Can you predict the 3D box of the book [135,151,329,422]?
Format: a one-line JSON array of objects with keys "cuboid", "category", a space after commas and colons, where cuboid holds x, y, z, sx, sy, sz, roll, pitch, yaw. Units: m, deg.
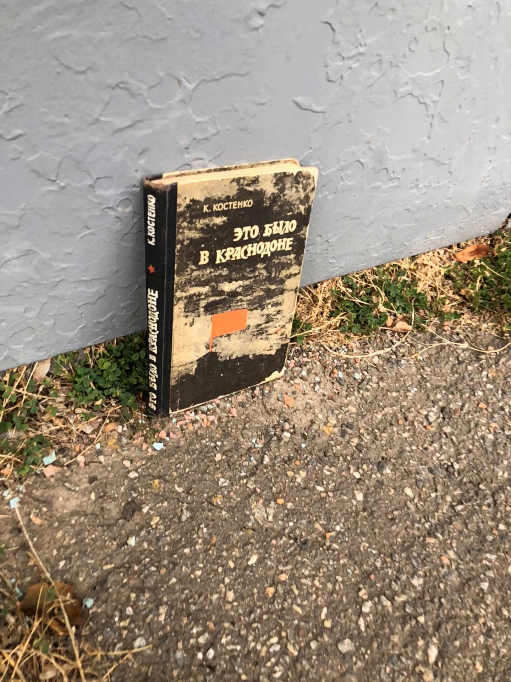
[{"cuboid": [-0.020, -0.041, 0.449, 0.140, 0.199, 0.030, -17, 40, -29], "category": "book"}]
